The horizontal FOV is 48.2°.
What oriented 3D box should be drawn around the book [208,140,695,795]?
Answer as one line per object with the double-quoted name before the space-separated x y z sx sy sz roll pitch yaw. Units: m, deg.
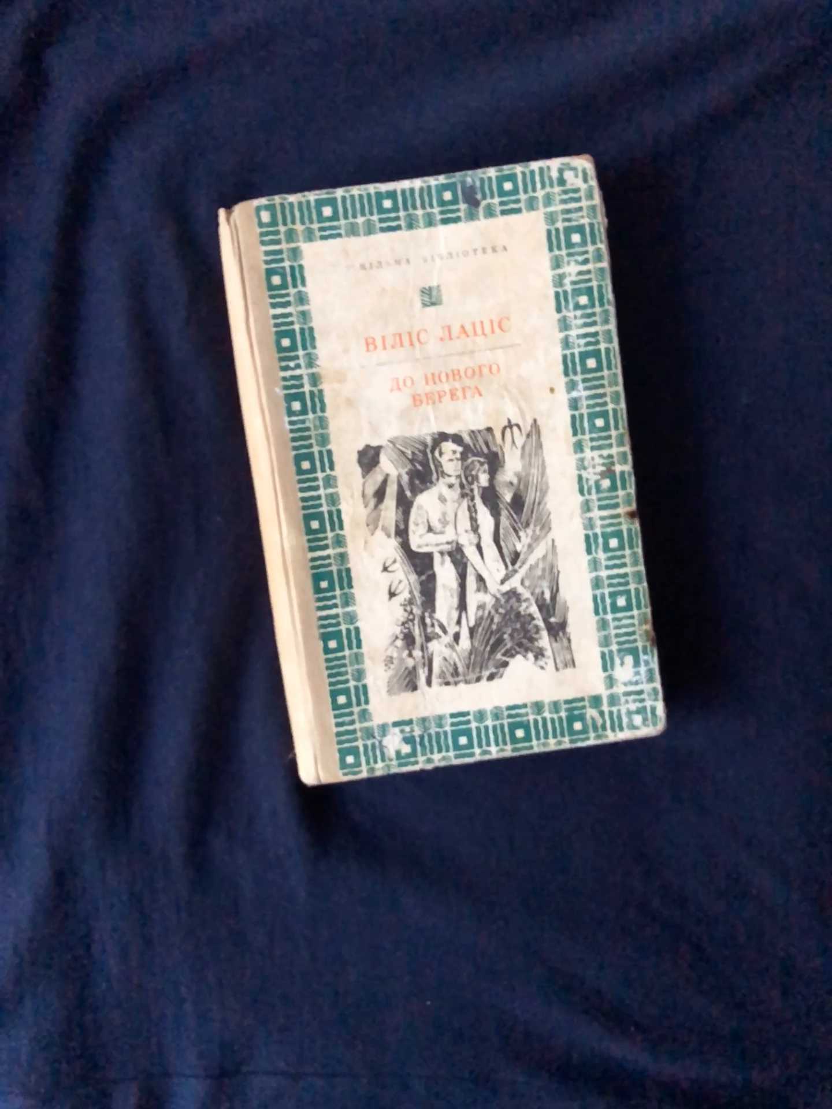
"book" 0.012 -0.029 0.331 0.134 0.040 0.201 -9 91 0
